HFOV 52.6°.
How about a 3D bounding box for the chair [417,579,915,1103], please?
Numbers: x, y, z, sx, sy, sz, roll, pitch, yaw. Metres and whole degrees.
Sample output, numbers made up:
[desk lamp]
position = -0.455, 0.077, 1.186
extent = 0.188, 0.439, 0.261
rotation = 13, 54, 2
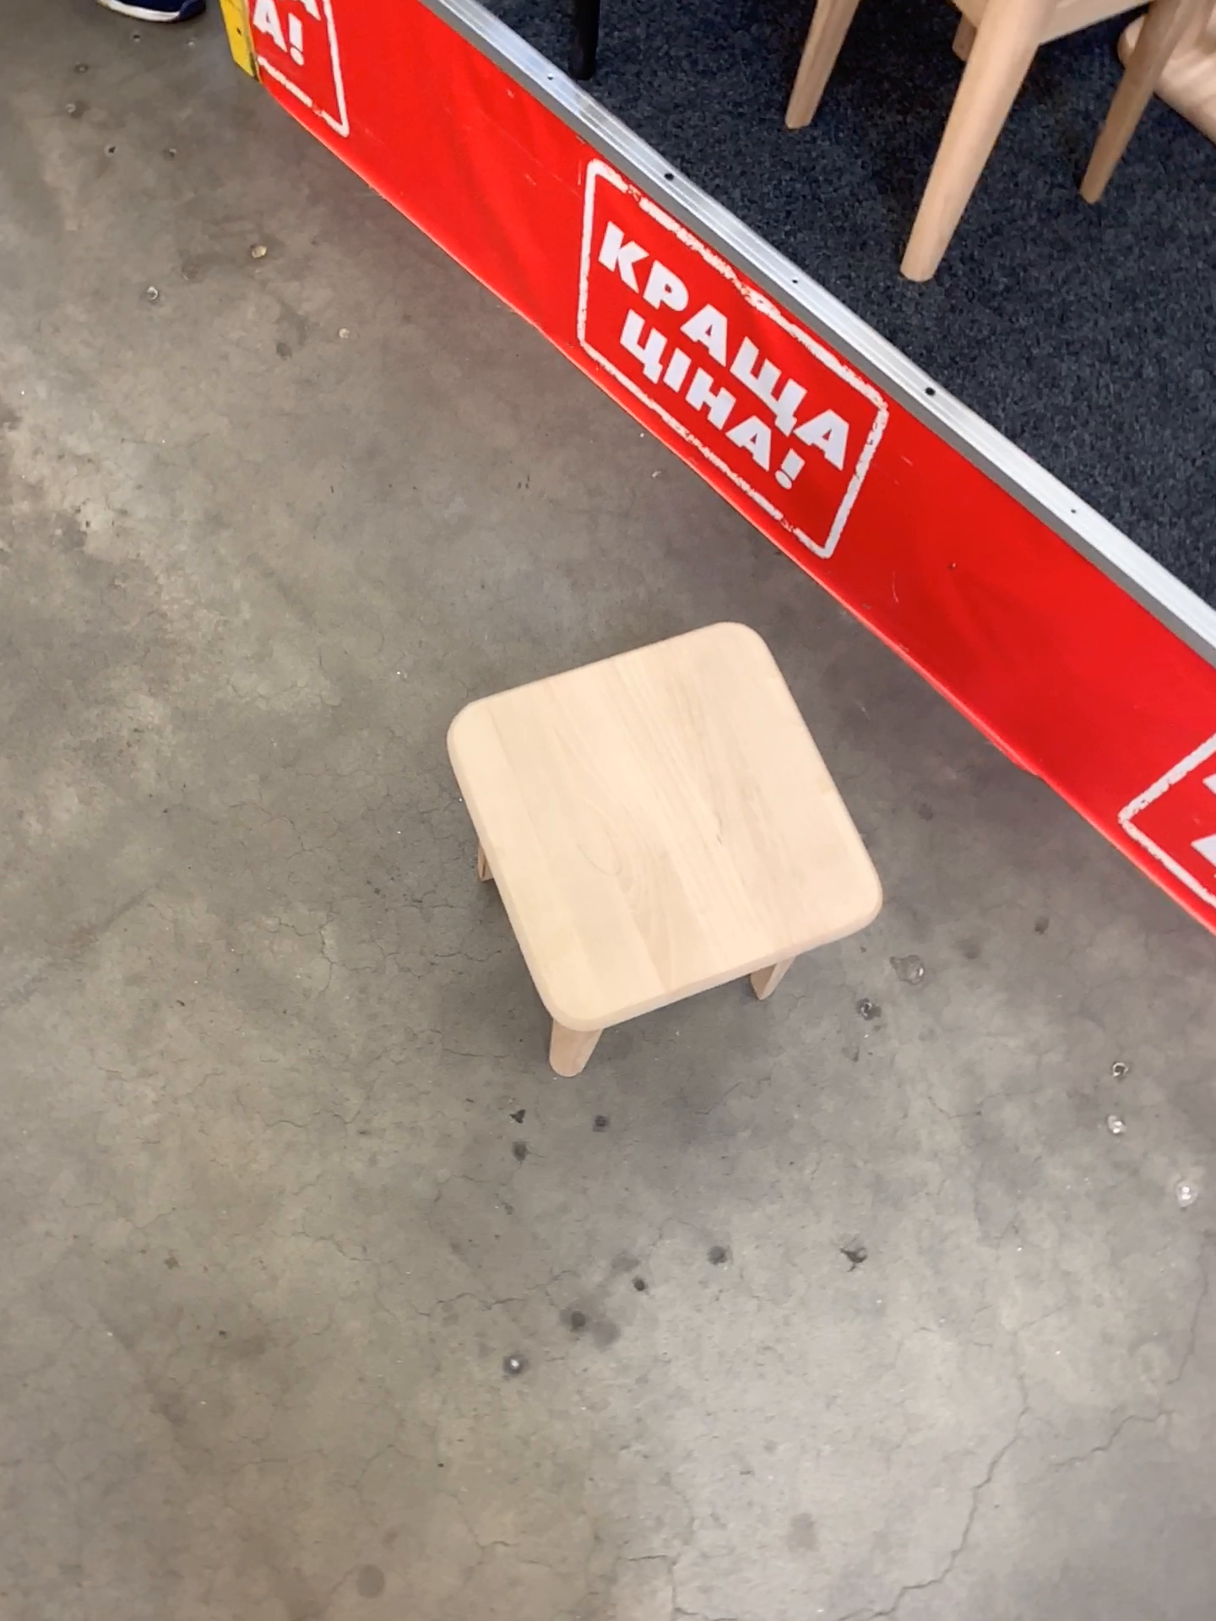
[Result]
[chair]
position = 0.026, 0.035, 0.932
extent = 0.250, 0.260, 0.260
rotation = -19, 72, -11
